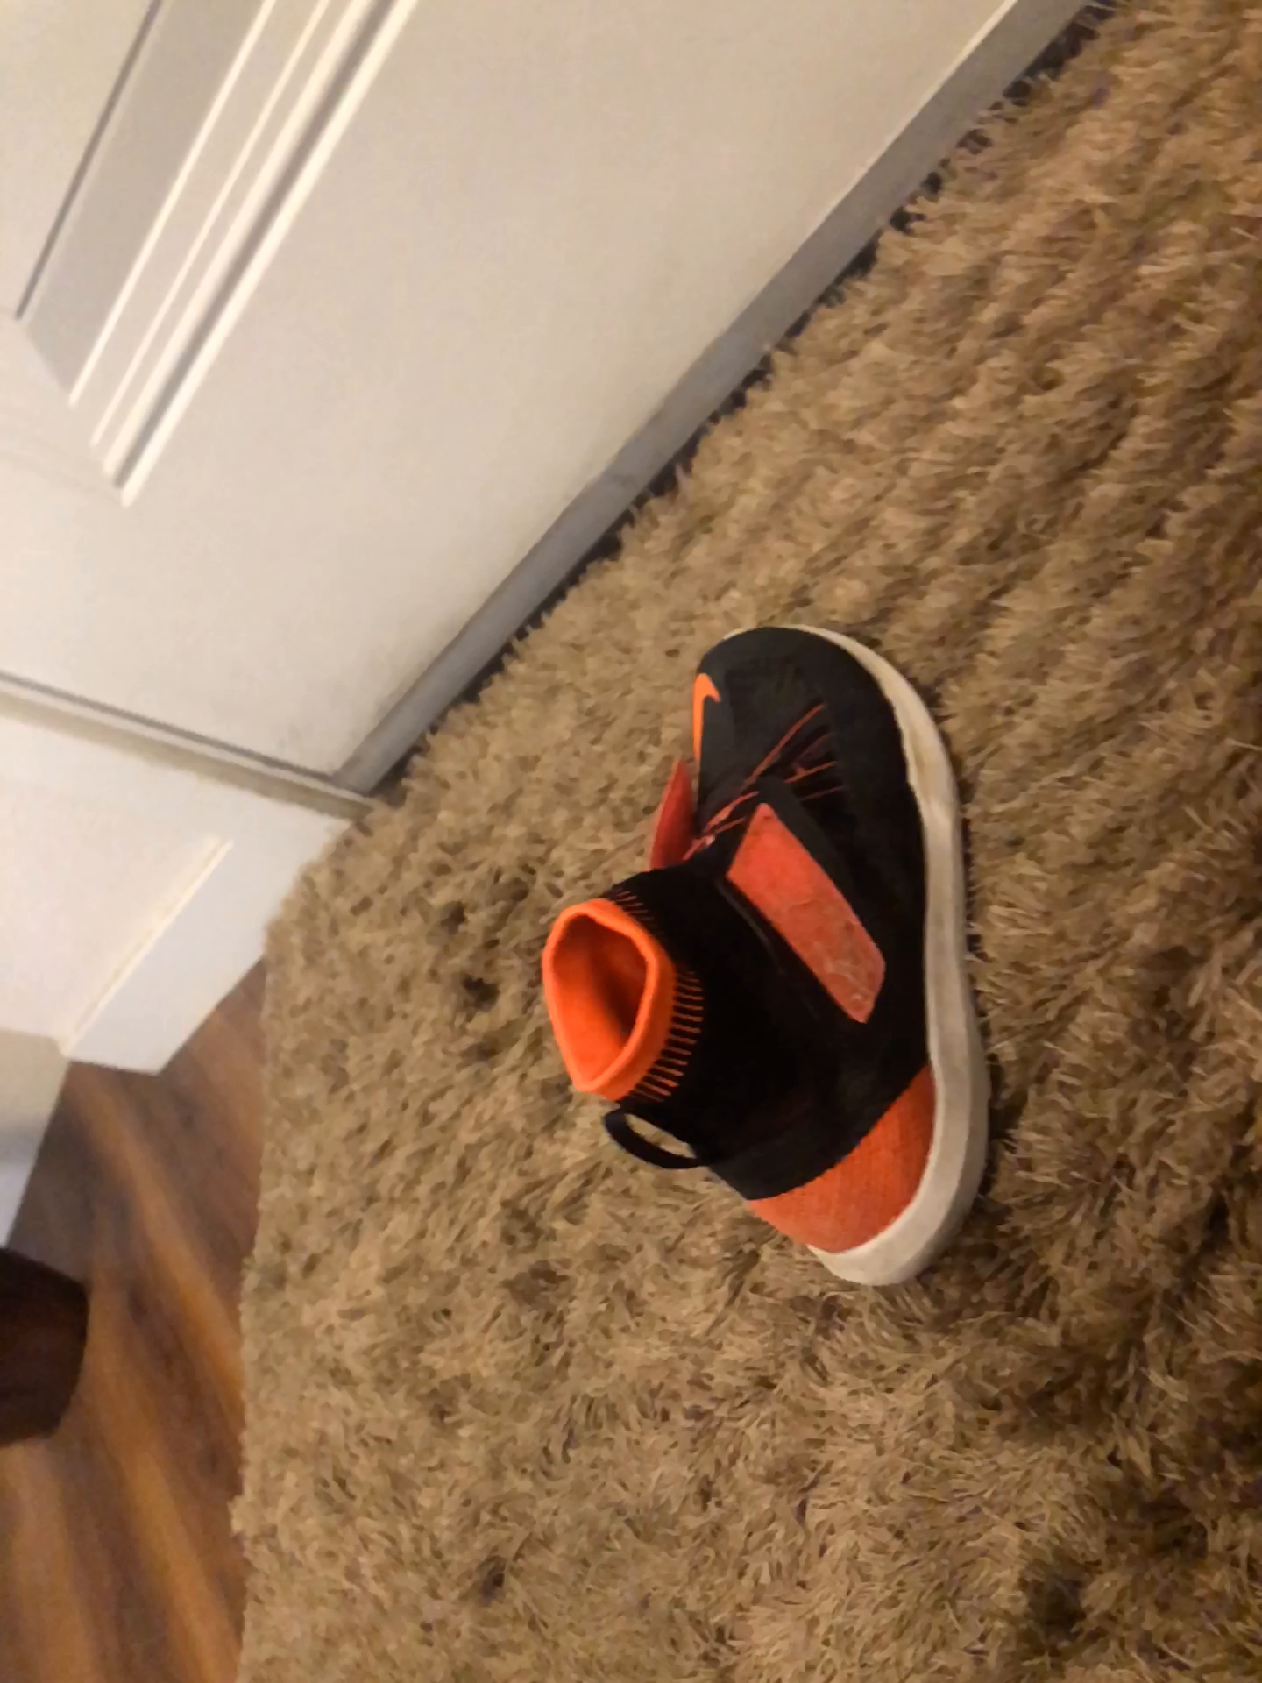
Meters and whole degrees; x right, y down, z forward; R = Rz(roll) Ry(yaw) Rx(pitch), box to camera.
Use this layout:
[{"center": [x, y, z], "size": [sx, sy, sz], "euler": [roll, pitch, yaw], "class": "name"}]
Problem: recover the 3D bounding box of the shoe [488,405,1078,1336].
[{"center": [0.040, 0.010, 0.517], "size": [0.110, 0.139, 0.303], "euler": [-37, 47, 41], "class": "shoe"}]
